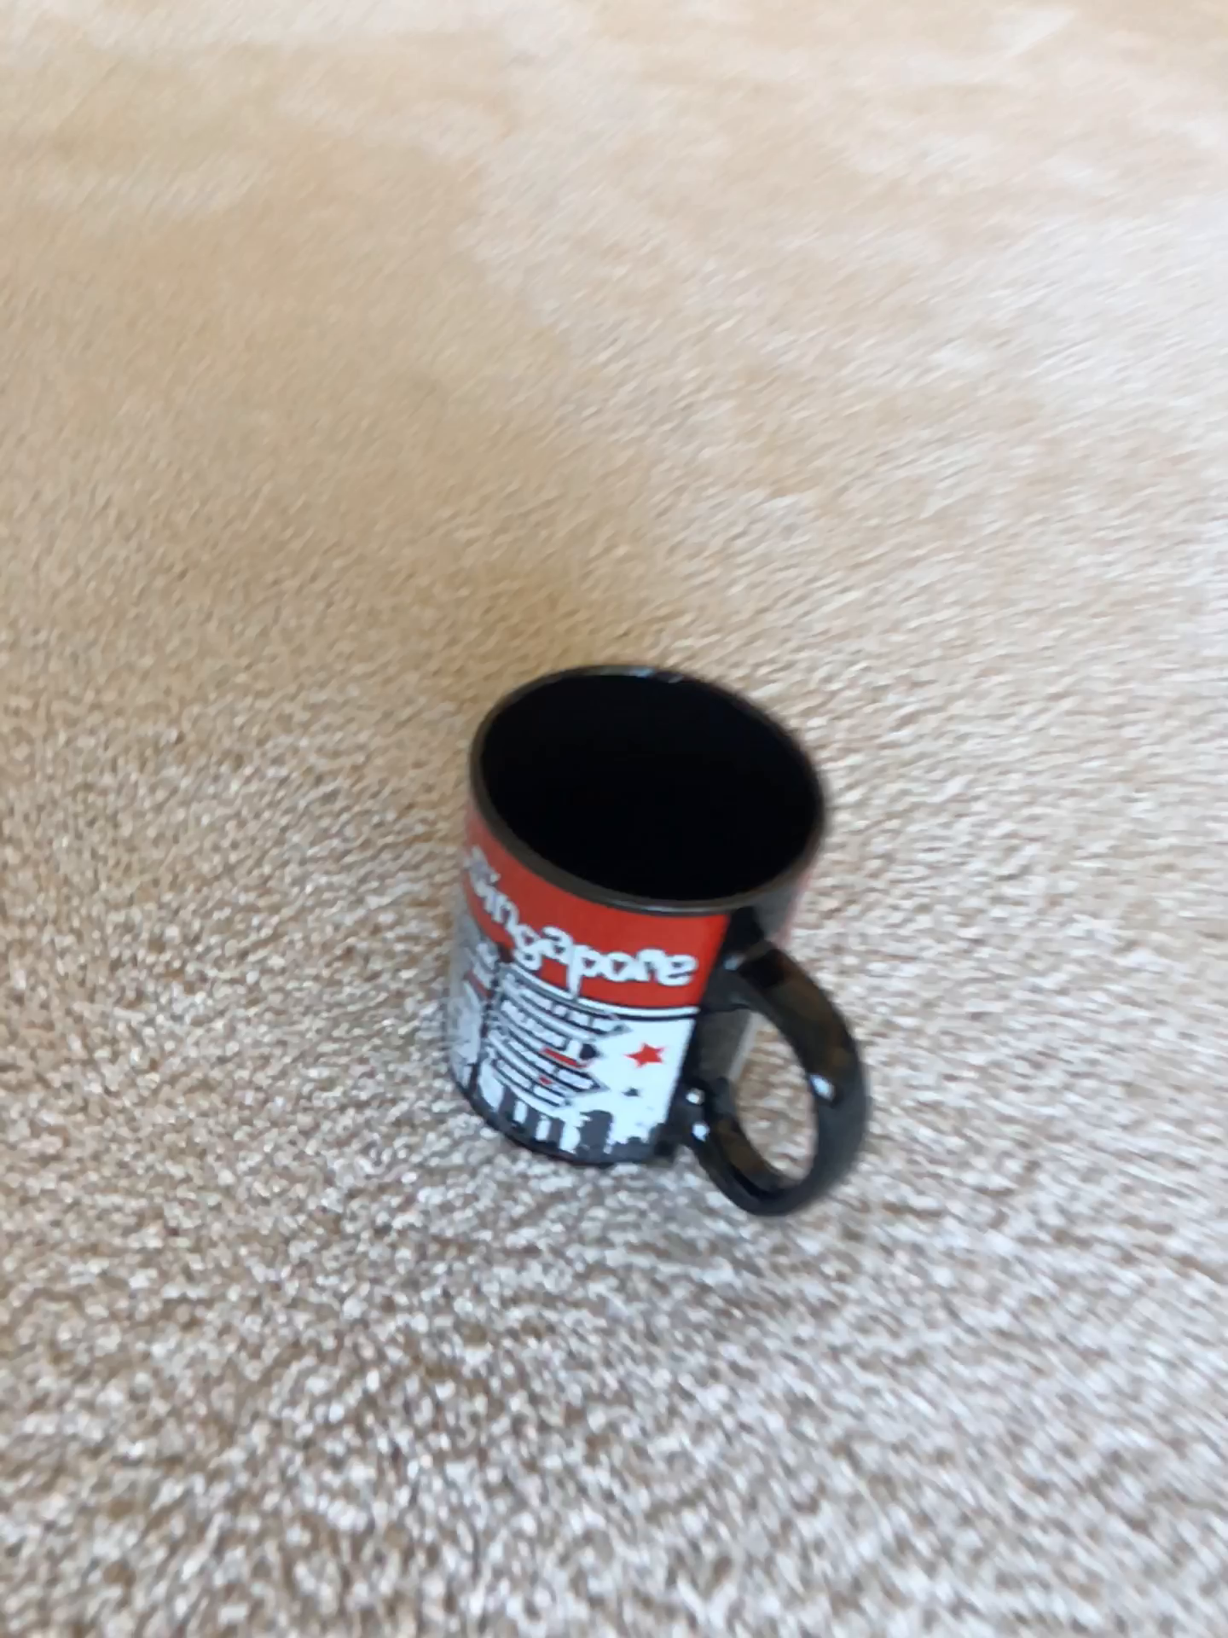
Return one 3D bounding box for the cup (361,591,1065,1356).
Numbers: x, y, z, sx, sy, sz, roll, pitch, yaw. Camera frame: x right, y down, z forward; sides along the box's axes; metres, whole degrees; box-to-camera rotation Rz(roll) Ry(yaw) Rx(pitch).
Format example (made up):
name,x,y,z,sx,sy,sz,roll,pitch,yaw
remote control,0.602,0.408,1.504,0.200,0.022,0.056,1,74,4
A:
name,x,y,z,sx,sy,sz,roll,pitch,yaw
cup,0.011,0.027,0.316,0.090,0.090,0.130,-17,48,-29
